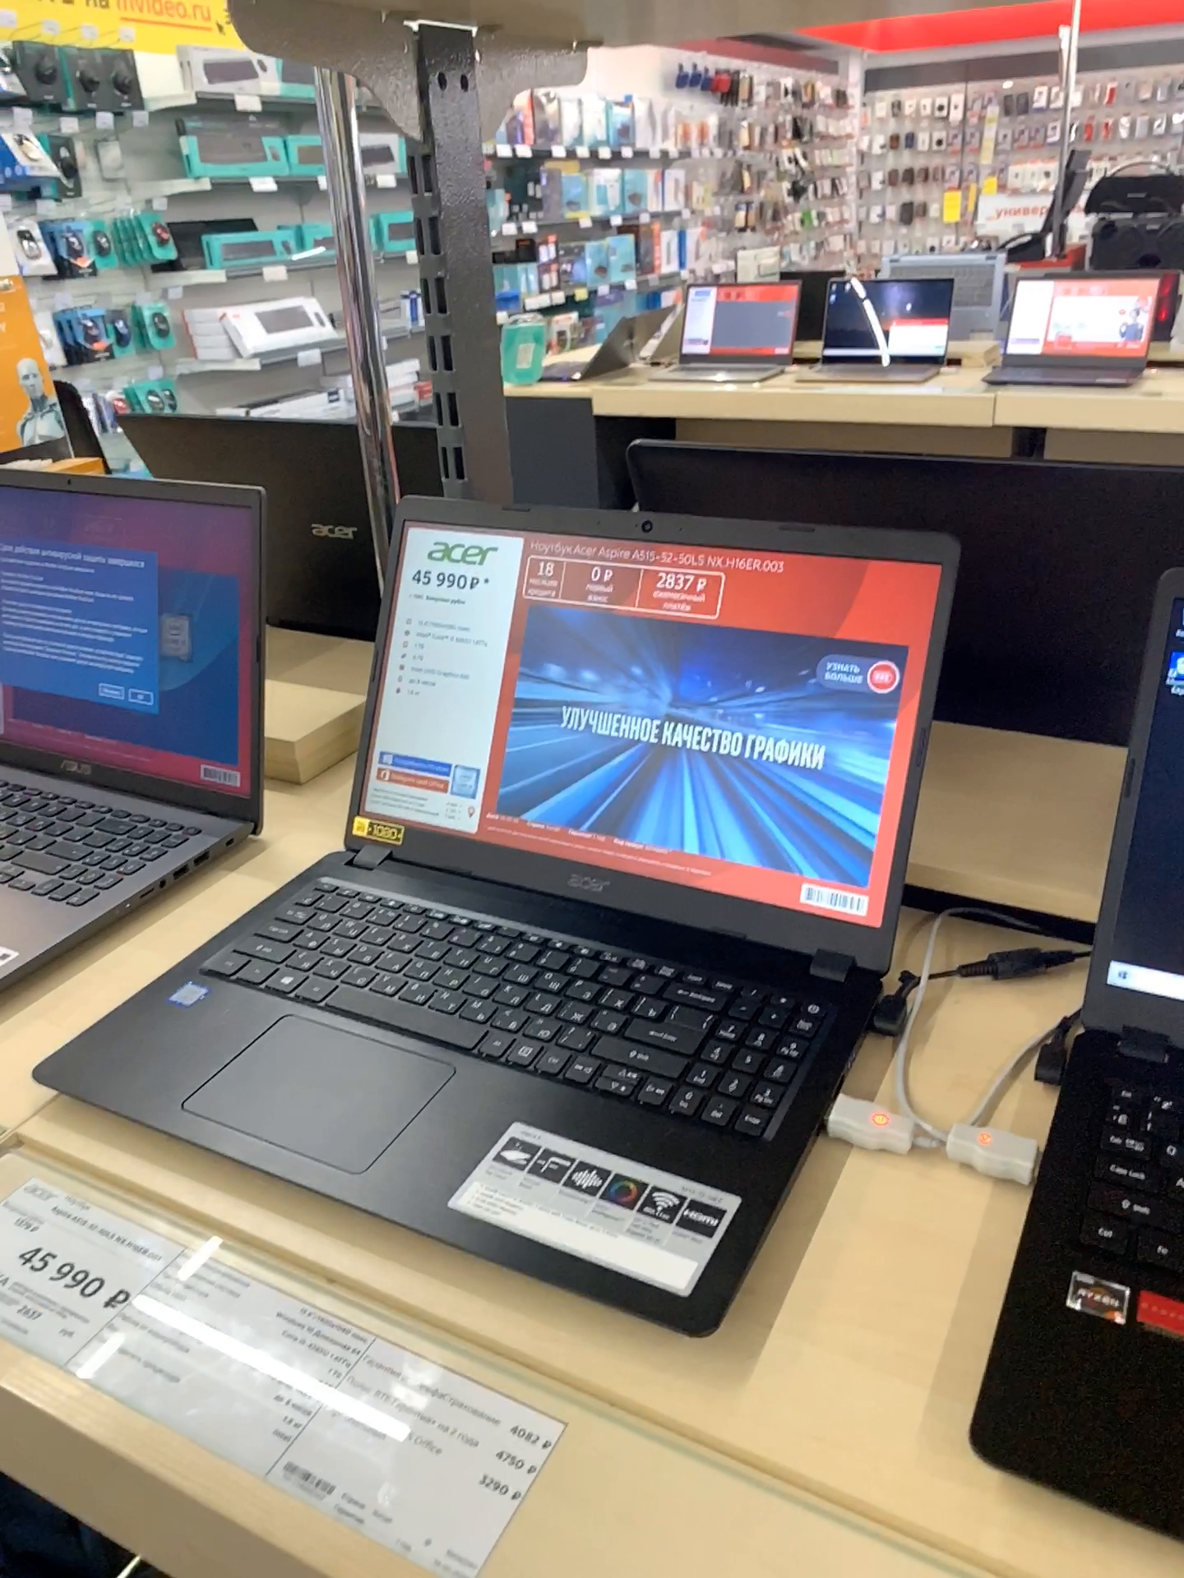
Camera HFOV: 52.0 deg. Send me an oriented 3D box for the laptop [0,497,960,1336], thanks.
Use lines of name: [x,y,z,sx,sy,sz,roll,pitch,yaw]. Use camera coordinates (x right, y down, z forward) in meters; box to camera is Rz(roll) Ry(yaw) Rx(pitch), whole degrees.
laptop: [-0.043,0.003,0.631,0.368,0.208,0.366,10,29,26]
